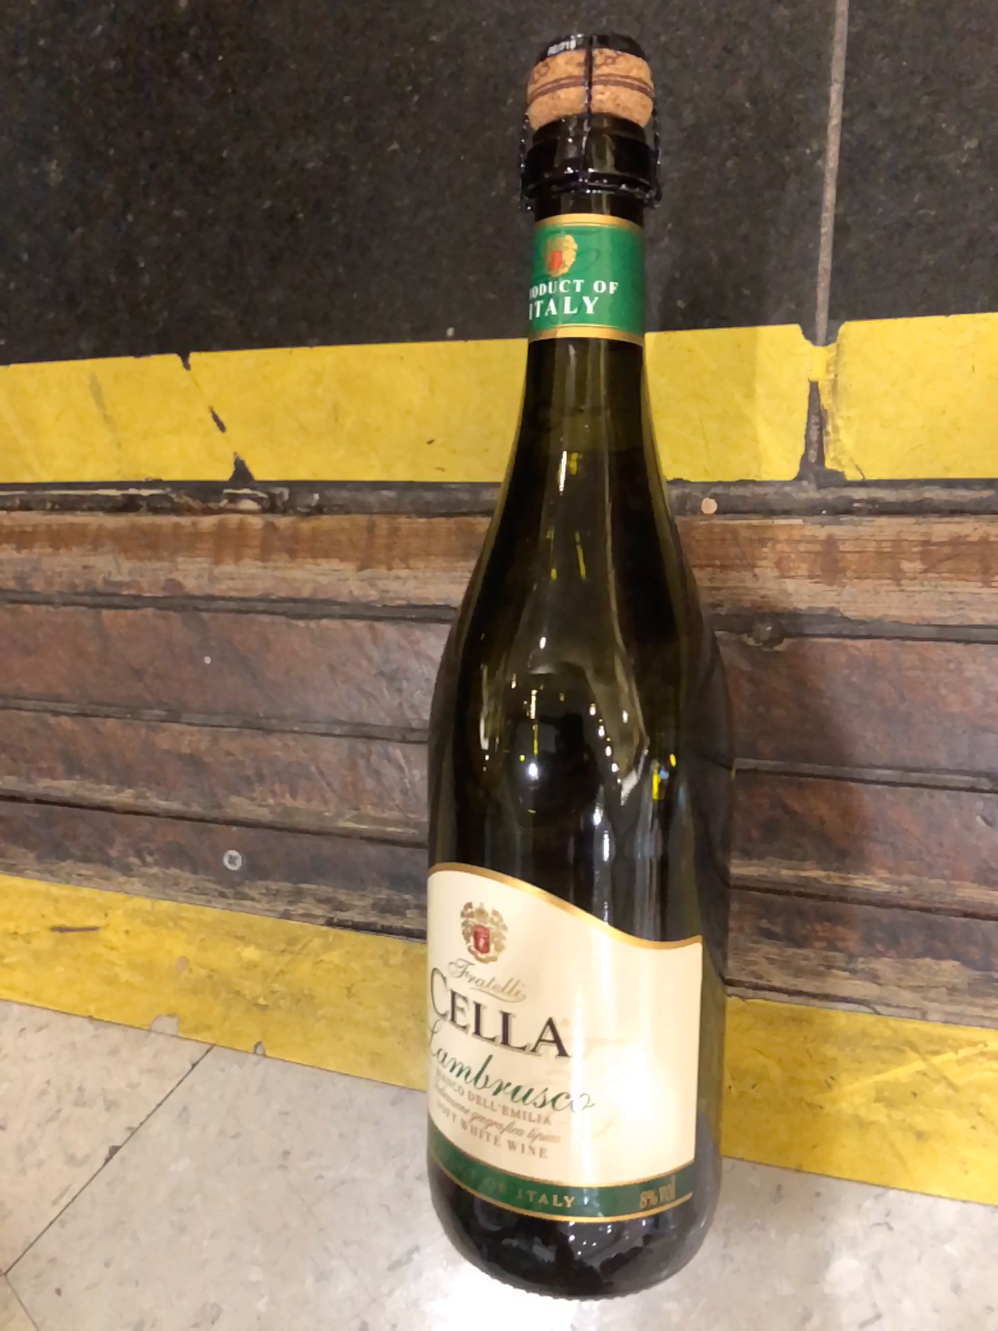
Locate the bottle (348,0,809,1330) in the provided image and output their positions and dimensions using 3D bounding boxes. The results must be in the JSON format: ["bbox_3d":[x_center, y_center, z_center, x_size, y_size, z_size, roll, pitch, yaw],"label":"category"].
[{"bbox_3d":[0.017,0.003,0.274,0.090,0.060,0.310,5,99,21],"label":"bottle"}]
